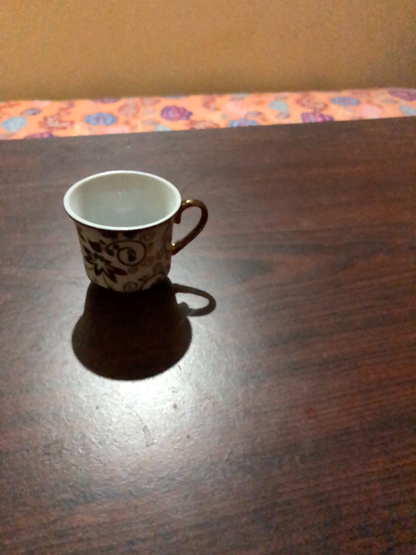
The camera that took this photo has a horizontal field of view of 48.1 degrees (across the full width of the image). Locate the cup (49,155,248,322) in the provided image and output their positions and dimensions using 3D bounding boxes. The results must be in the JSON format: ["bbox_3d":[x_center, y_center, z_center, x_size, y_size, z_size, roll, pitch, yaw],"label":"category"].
[{"bbox_3d":[-0.035,-0.027,0.265,0.090,0.050,0.070,-12,42,-18],"label":"cup"}]
